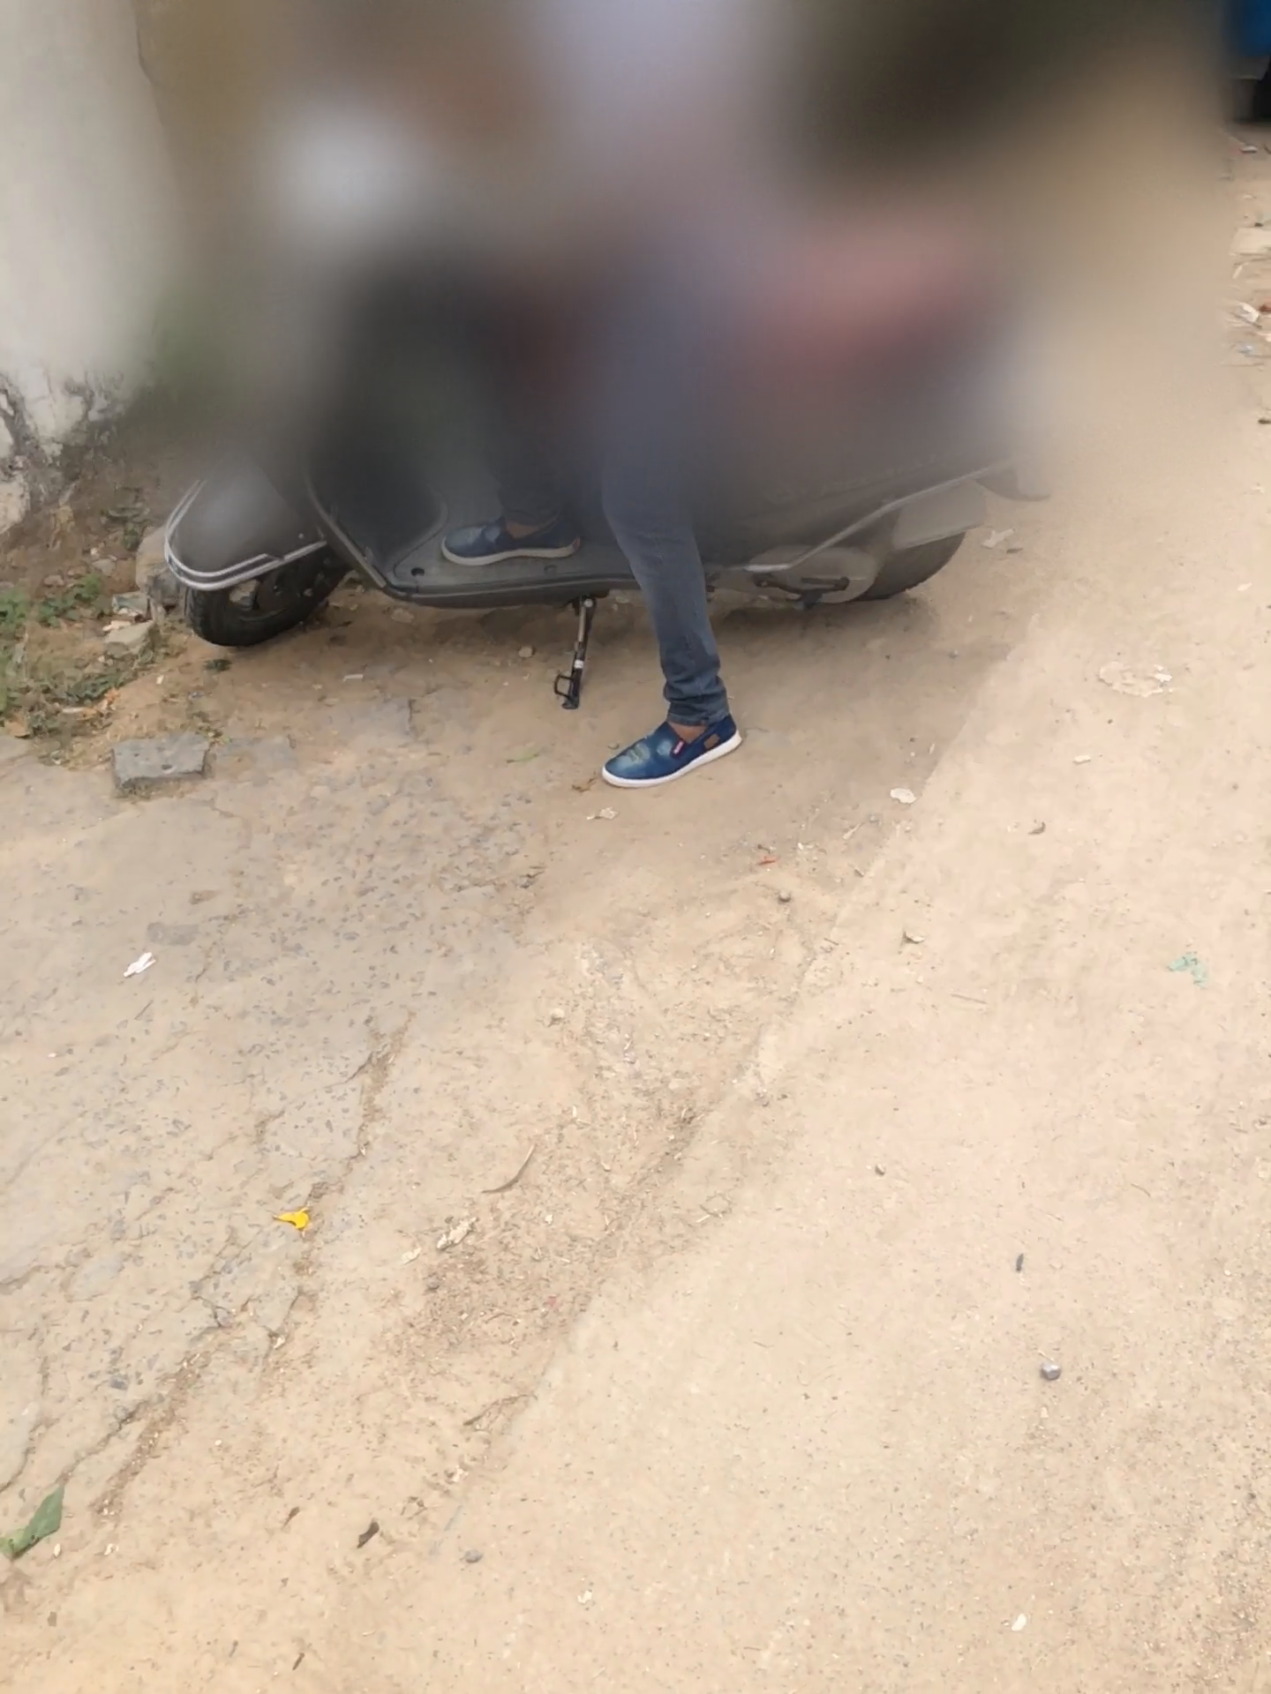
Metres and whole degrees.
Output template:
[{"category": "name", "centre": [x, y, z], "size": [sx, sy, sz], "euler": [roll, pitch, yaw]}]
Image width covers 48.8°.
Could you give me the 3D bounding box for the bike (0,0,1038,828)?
[{"category": "bike", "centre": [-0.153, -0.778, 2.366], "size": [1.497, 1.195, 0.614], "euler": [-8, 35, -4]}]
